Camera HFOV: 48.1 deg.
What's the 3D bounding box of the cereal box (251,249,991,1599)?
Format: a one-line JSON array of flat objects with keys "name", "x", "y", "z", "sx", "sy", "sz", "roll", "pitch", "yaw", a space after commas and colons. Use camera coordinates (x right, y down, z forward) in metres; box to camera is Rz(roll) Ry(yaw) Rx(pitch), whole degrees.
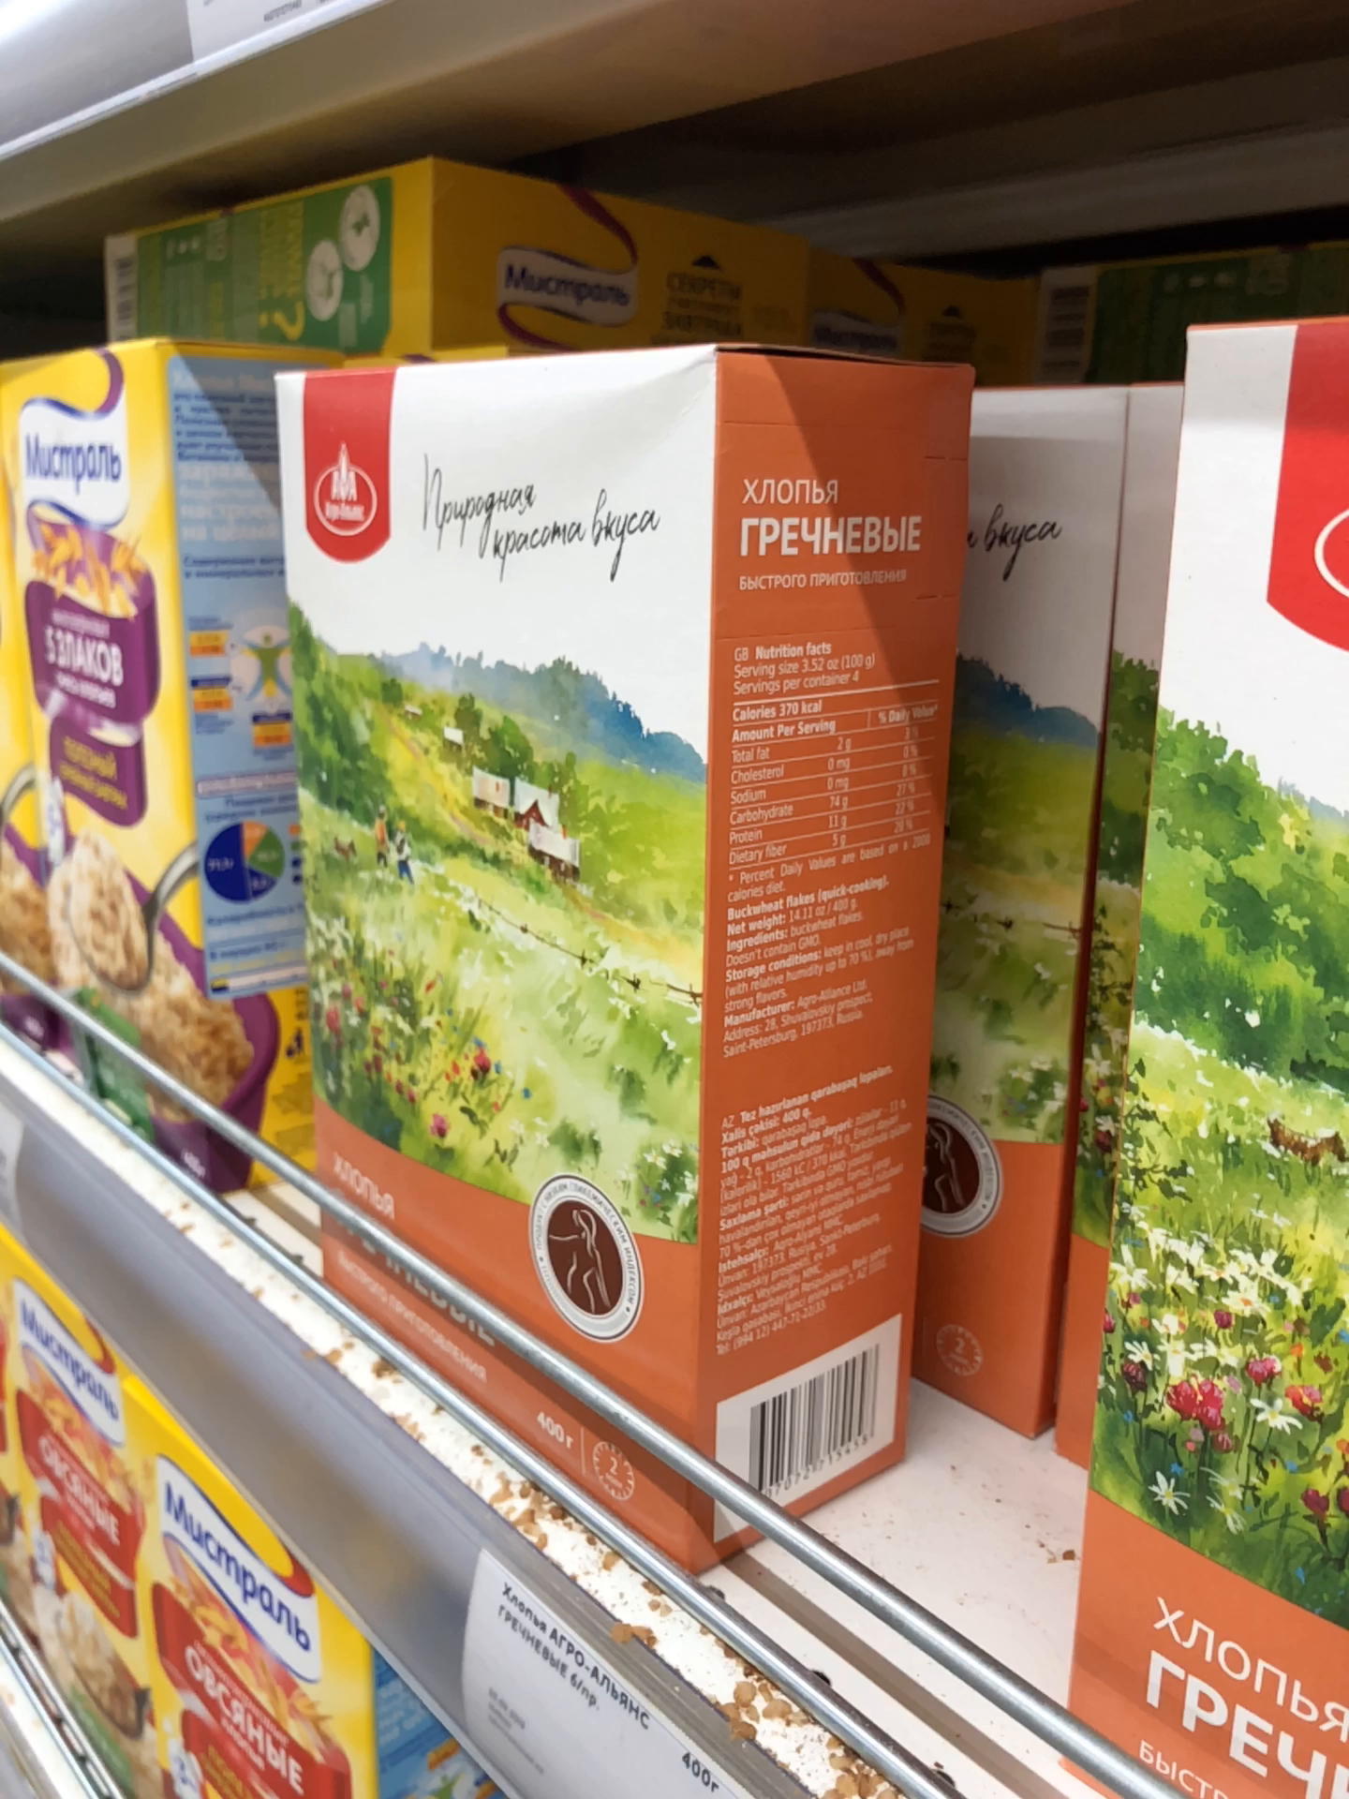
[{"name": "cereal box", "x": -0.019, "y": -0.004, "z": 0.282, "sx": 0.050, "sy": 0.199, "sz": 0.140, "roll": -11, "pitch": 19, "yaw": -39}]
